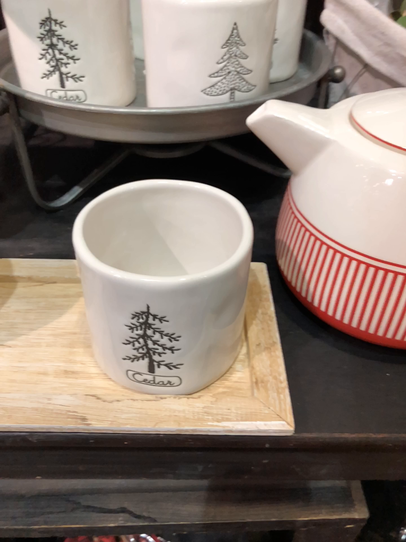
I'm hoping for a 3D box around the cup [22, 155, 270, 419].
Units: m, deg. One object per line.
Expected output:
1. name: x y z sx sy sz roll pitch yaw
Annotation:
1. cup: -0.021 0.007 0.249 0.097 0.100 0.087 8 42 8
